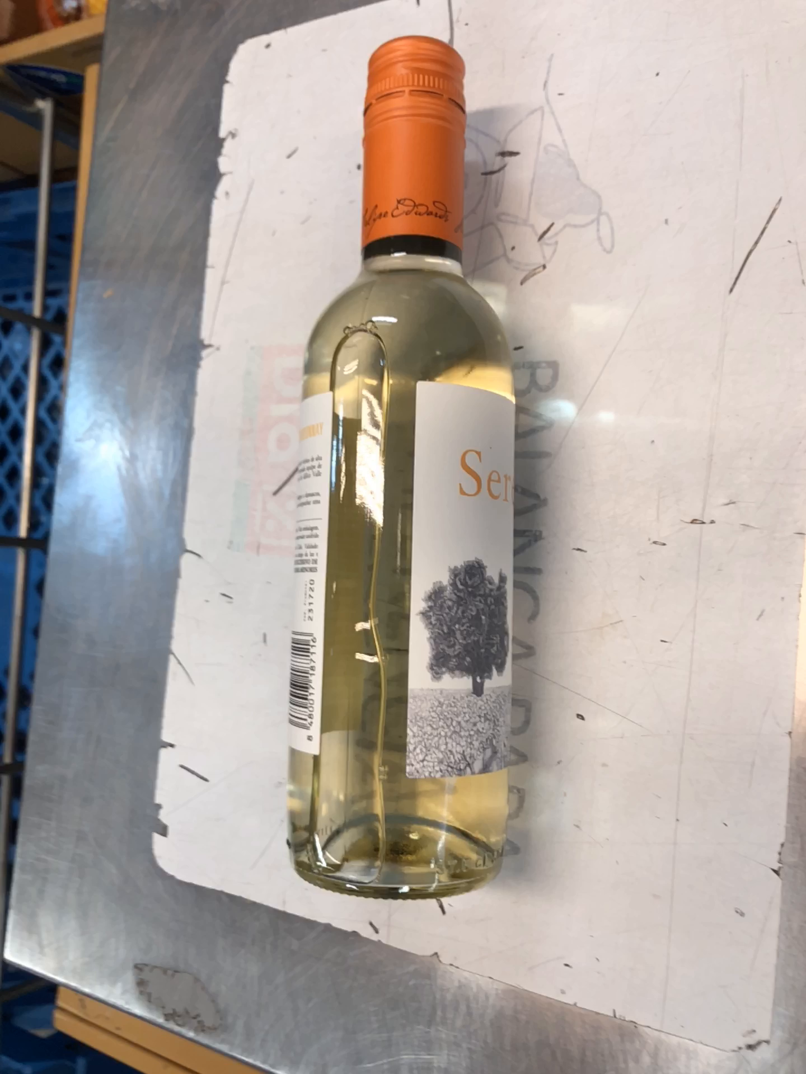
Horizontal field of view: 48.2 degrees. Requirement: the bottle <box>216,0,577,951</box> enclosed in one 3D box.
[{"bbox_3d":[0.003,-0.038,0.256,0.070,0.070,0.270,4,88,7],"label":"bottle"}]
